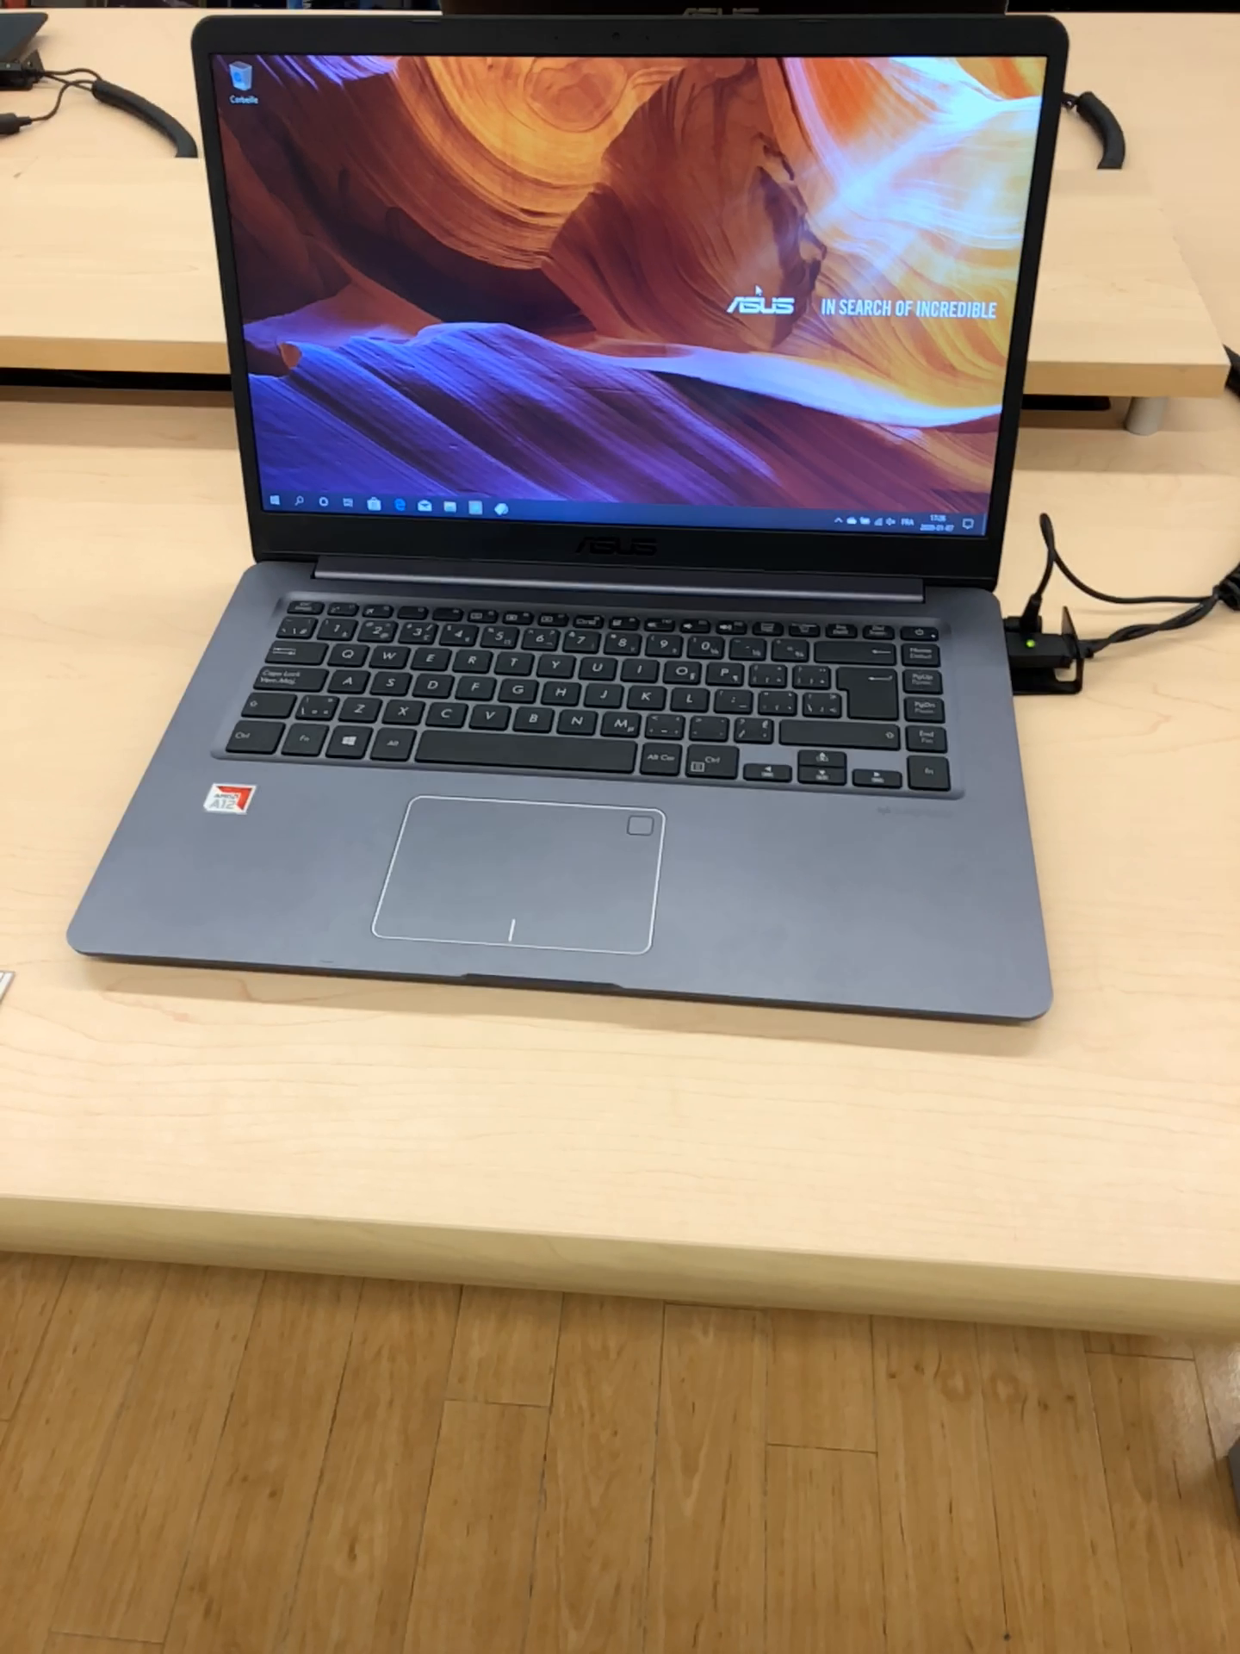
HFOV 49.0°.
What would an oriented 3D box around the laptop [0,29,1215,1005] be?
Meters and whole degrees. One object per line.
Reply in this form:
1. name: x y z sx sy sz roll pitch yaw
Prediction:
1. laptop: -0.016 -0.138 0.537 0.361 0.223 0.319 3 47 5
